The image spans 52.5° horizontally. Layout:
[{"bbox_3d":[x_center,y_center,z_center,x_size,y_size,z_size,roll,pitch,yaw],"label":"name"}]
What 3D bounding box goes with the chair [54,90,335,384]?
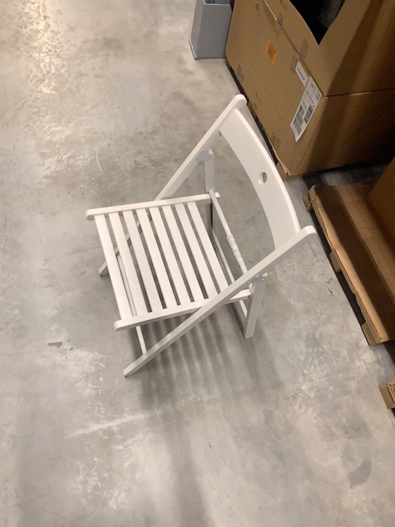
[{"bbox_3d":[-0.059,-0.016,1.127,0.470,0.709,0.431,-13,64,-14],"label":"chair"}]
